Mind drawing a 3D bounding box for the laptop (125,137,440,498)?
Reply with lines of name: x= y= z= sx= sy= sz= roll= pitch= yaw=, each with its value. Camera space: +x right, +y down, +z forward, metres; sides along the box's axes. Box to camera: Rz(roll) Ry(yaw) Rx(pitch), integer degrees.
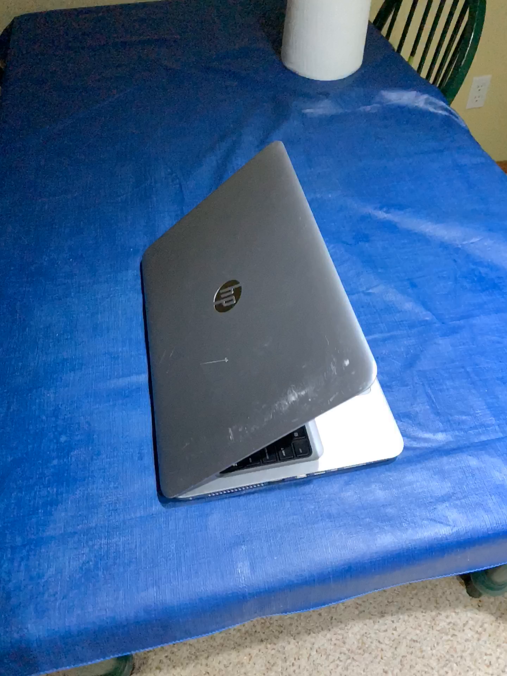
laptop: x=0.002 y=-0.046 z=0.597 sx=0.253 sy=0.156 sz=0.368 roll=-9 pitch=52 yaw=-6
